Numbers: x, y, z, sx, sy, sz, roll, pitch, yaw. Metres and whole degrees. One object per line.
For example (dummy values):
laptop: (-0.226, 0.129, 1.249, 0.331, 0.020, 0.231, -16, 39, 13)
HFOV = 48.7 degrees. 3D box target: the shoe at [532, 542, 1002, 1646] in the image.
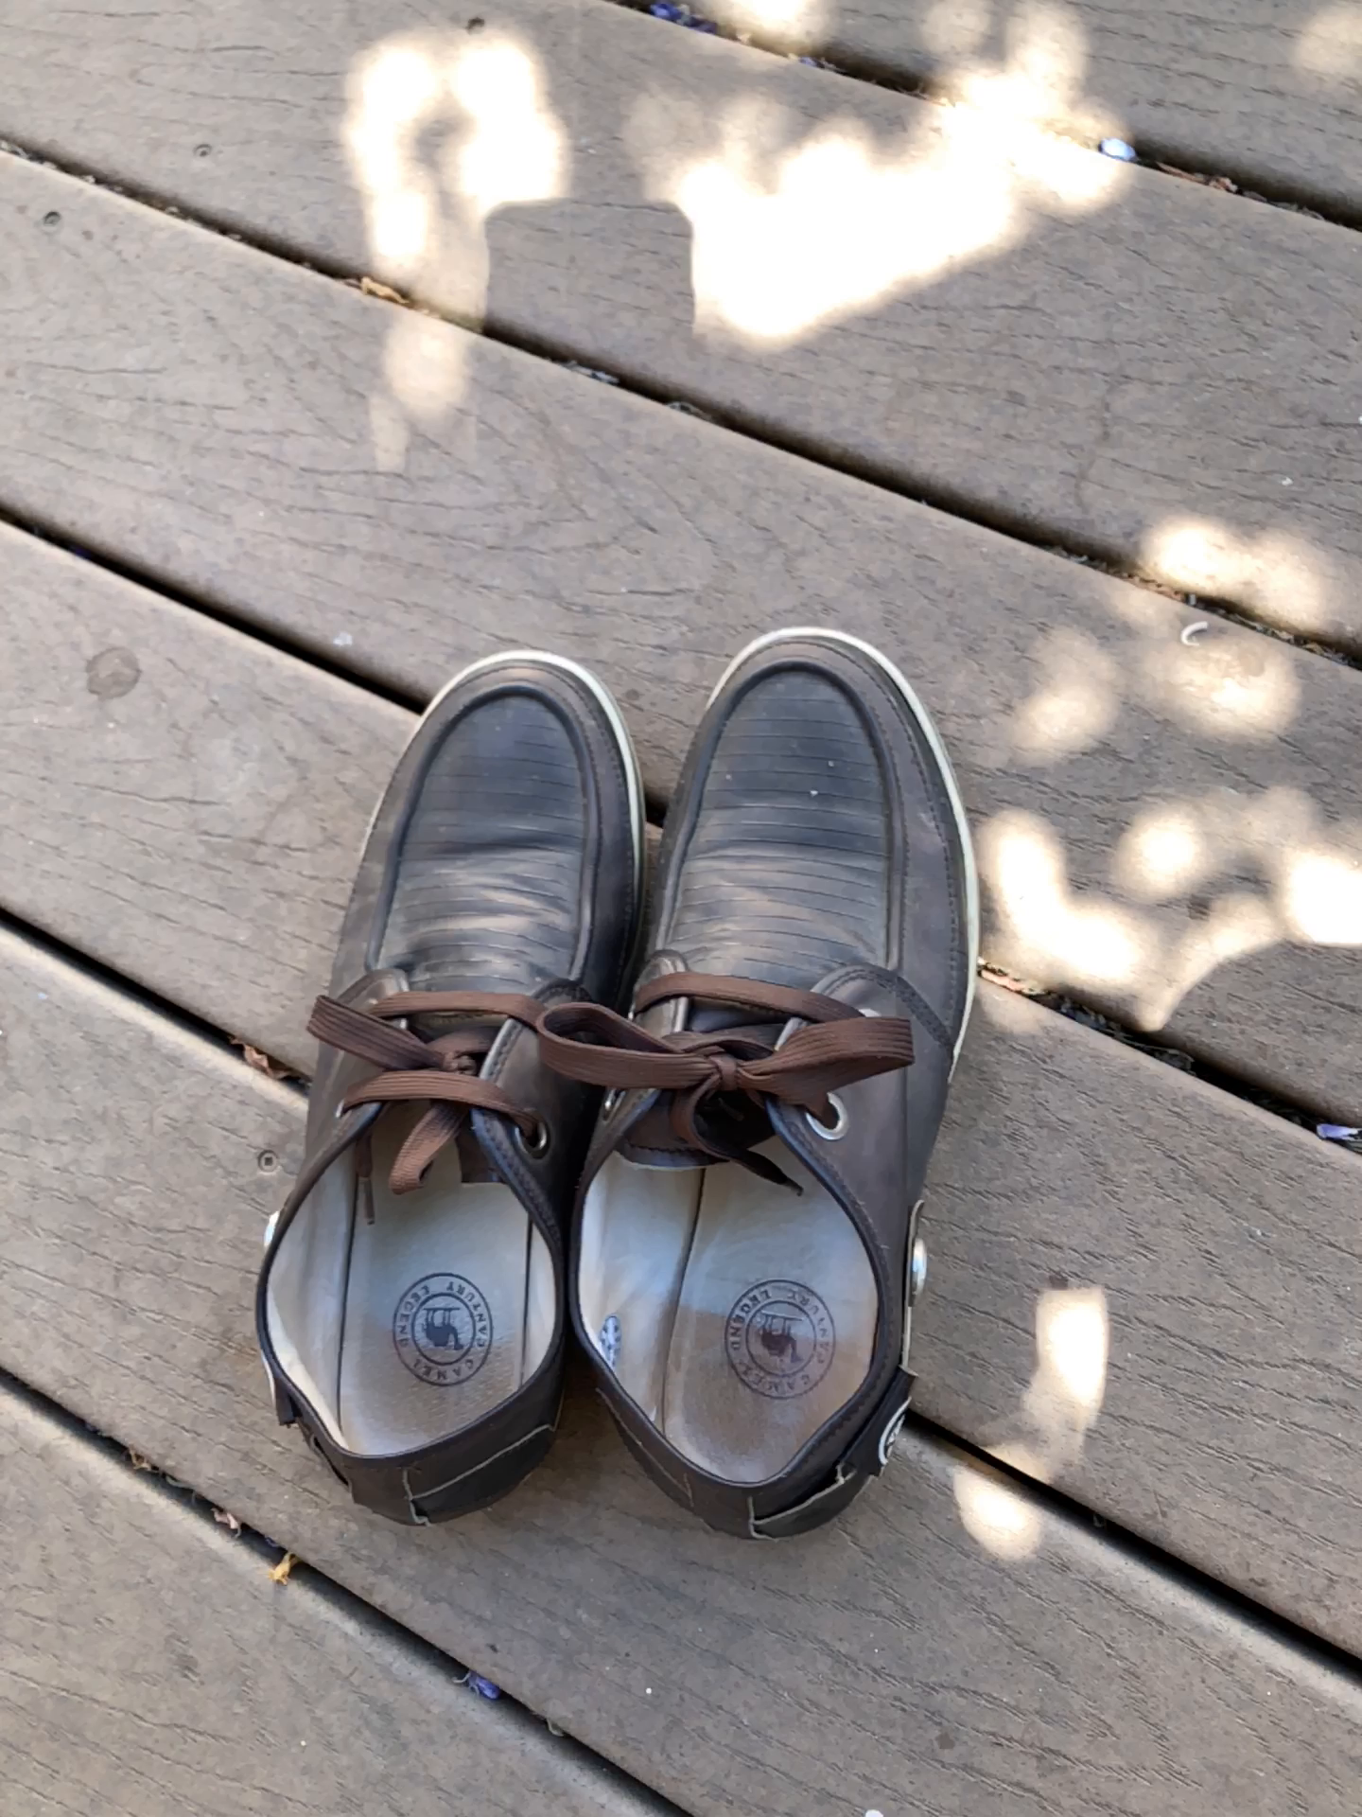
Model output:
shoe: (0.035, 0.047, 0.457, 0.107, 0.105, 0.289, 3, 81, 12)

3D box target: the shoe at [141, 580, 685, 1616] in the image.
shoe: (-0.075, 0.053, 0.488, 0.107, 0.115, 0.287, 3, 81, 12)
